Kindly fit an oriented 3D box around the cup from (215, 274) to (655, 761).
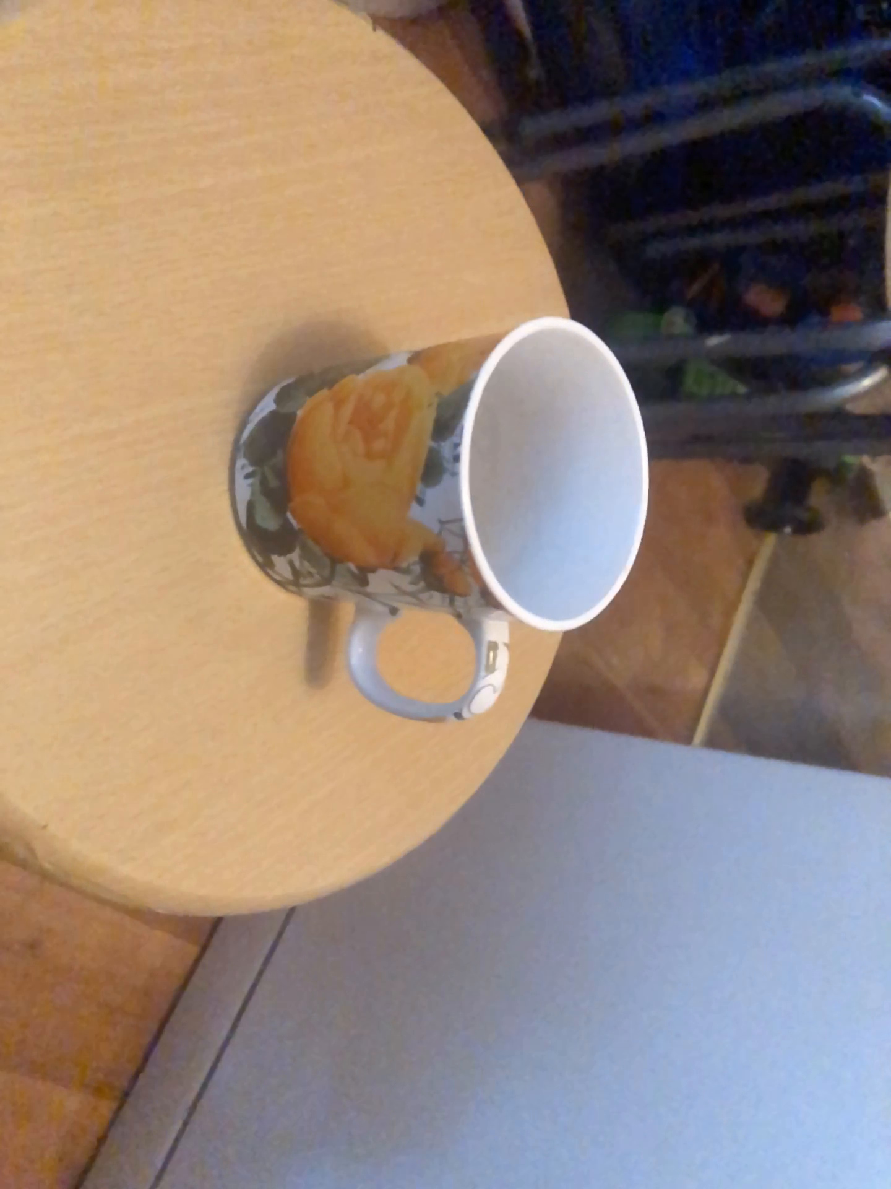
[{"bbox_3d":[-0.004,-0.020,0.288,0.083,0.097,0.110,-2,93,-47],"label":"cup"}]
